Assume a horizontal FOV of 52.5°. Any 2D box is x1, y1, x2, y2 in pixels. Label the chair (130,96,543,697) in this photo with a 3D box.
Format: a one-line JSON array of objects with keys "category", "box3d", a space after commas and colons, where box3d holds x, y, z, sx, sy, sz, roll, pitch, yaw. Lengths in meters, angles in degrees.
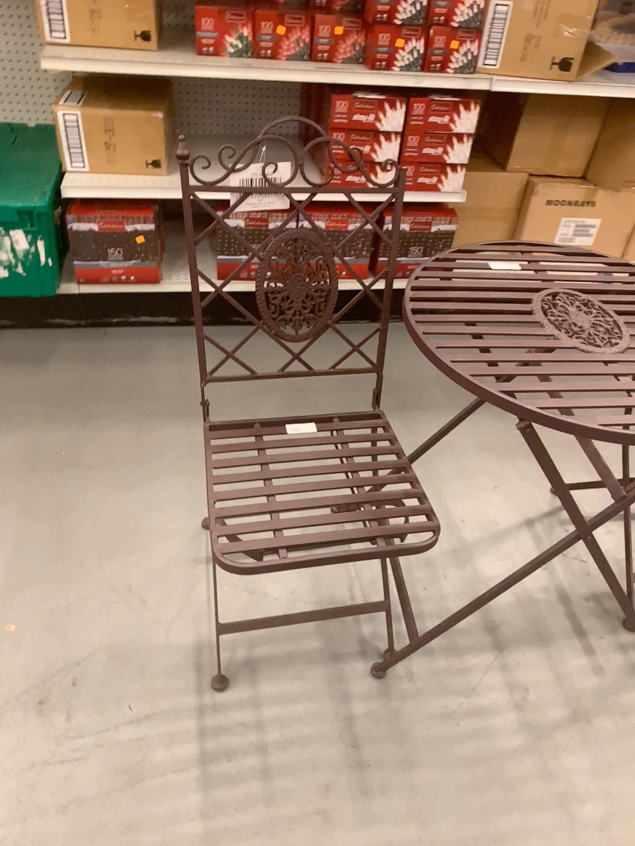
[{"category": "chair", "box3d": [-0.055, -0.026, 1.121, 0.422, 0.839, 0.566, -4, 42, -11]}]
